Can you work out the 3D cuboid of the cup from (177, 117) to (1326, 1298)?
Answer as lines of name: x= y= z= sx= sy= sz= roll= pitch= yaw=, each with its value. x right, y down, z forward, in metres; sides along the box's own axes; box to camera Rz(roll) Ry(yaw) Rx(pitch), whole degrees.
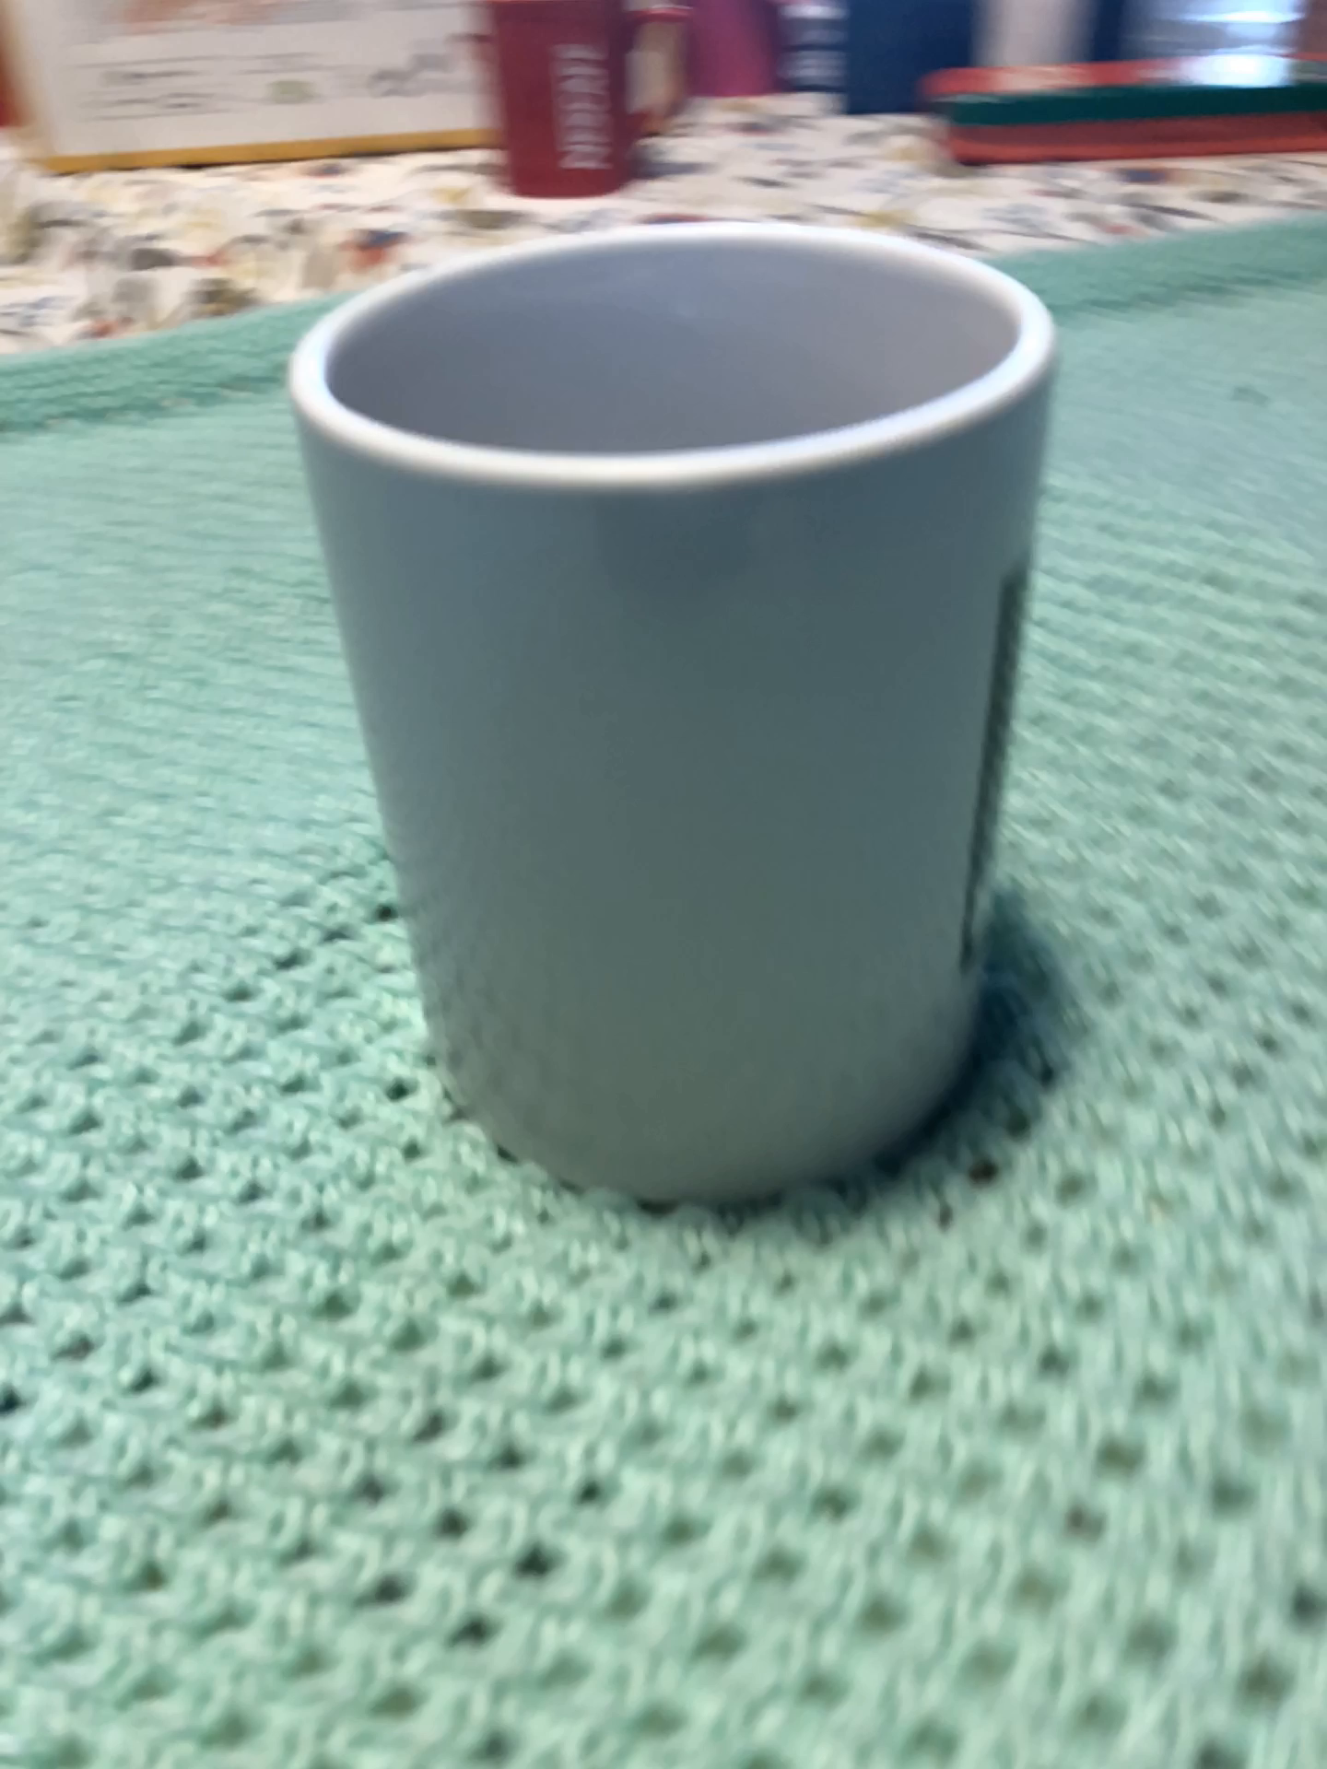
cup: x=0.004 y=-0.040 z=0.198 sx=0.100 sy=0.079 sz=0.141 roll=-15 pitch=40 yaw=-16
